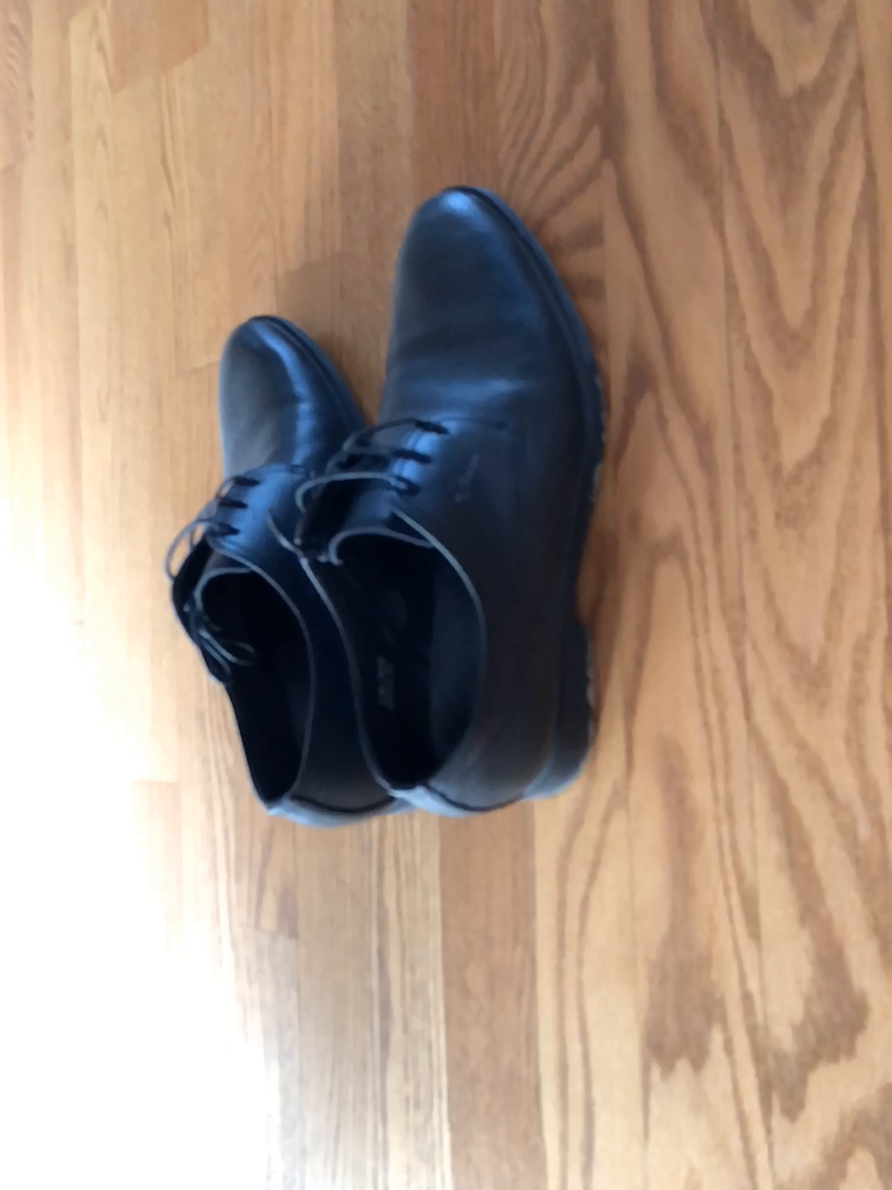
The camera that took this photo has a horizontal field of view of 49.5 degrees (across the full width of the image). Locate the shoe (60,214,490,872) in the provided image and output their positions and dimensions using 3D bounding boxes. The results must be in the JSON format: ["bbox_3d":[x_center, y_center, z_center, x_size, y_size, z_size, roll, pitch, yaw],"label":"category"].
[{"bbox_3d":[-0.097,-0.026,0.521,0.110,0.123,0.304,-27,72,36],"label":"shoe"}]

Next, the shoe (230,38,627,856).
[{"bbox_3d":[-0.008,-0.052,0.431,0.110,0.123,0.299,-6,85,39],"label":"shoe"}]
